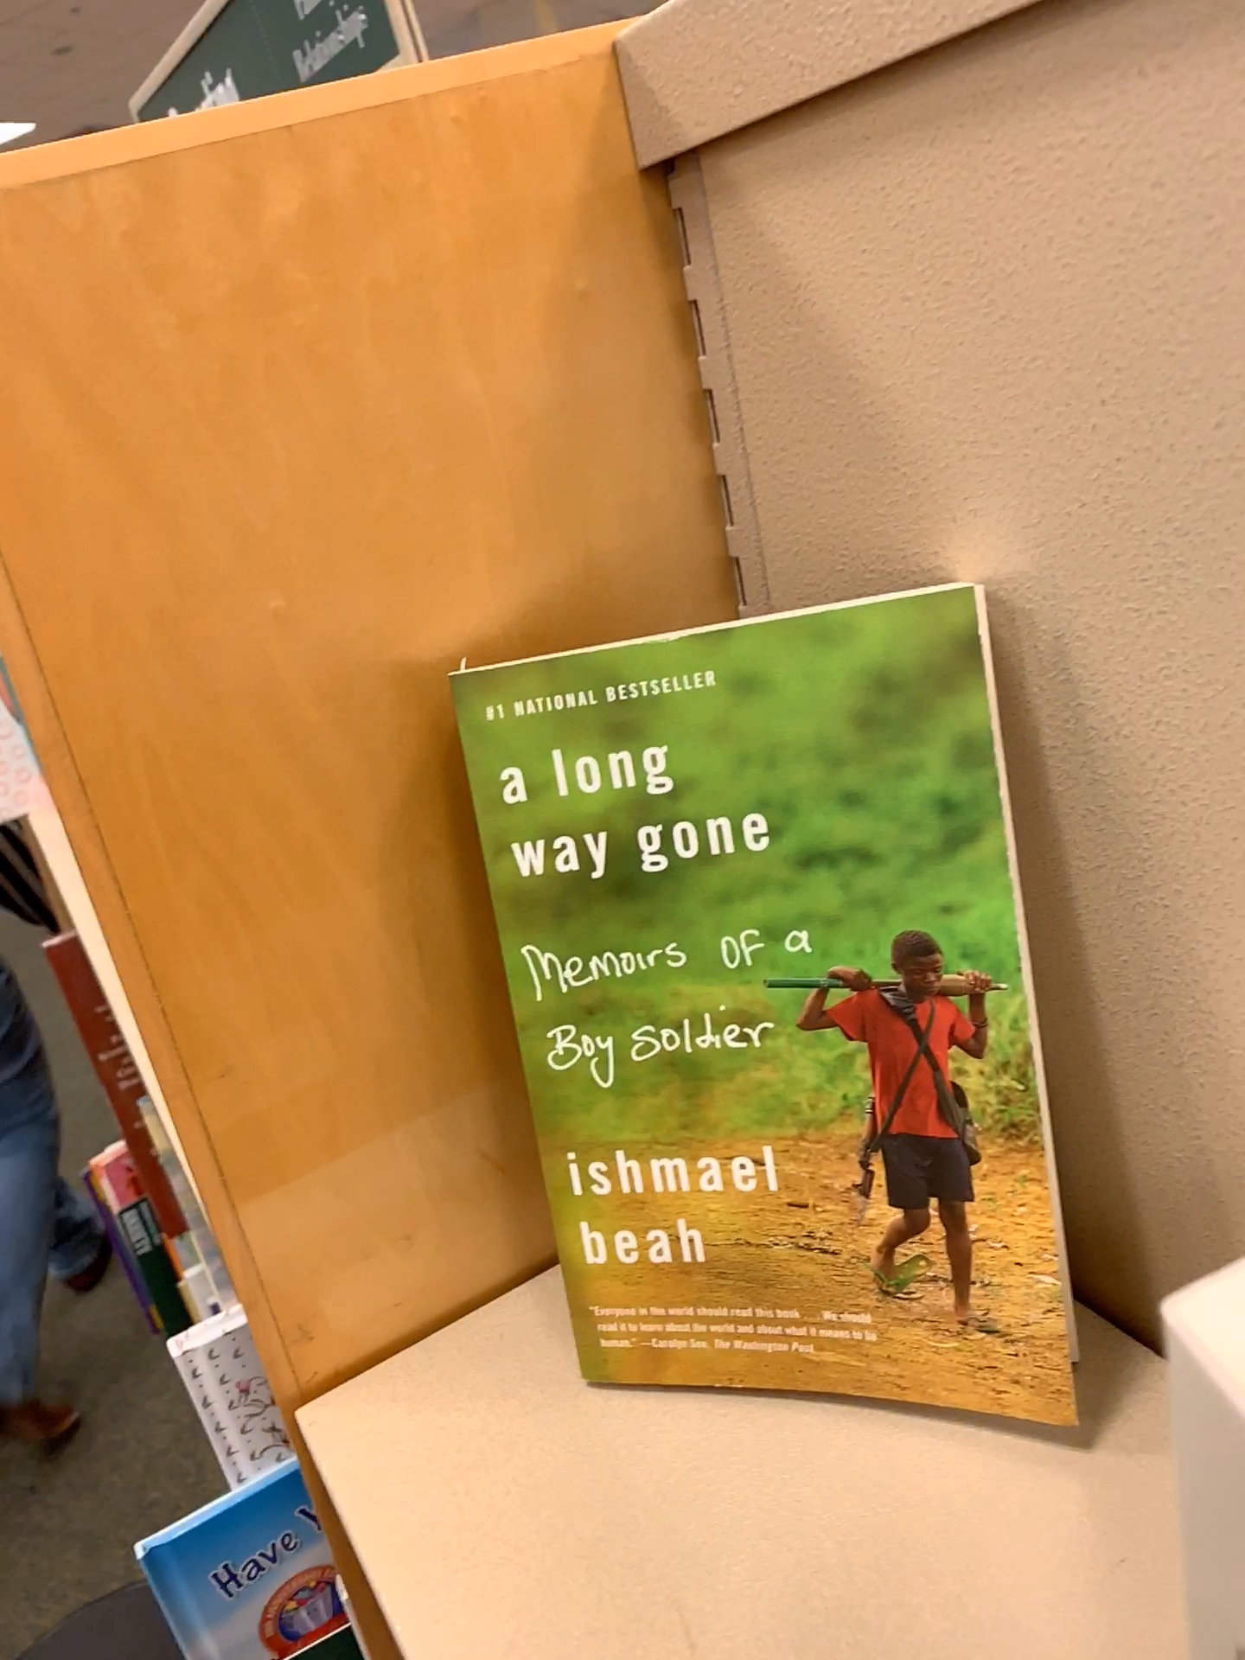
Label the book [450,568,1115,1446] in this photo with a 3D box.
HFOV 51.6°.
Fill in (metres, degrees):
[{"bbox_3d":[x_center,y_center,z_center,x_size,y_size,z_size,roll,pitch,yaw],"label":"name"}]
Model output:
[{"bbox_3d":[0.040,0.050,0.332,0.140,0.210,0.020,-6,10,25],"label":"book"}]
